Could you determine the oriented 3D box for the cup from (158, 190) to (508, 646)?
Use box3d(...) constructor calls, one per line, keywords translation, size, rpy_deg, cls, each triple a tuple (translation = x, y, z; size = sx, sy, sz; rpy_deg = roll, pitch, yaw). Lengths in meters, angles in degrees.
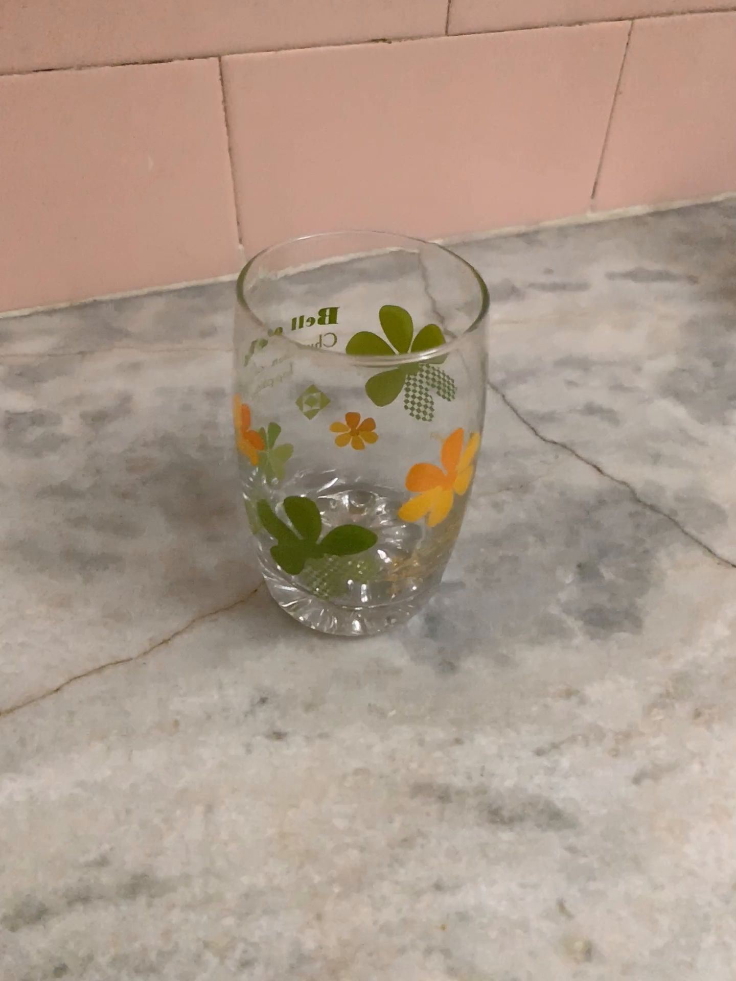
box3d(translation=(-0.005, -0.018, 0.212), size=(0.070, 0.100, 0.070), rpy_deg=(0, 45, 0), cls="cup")
